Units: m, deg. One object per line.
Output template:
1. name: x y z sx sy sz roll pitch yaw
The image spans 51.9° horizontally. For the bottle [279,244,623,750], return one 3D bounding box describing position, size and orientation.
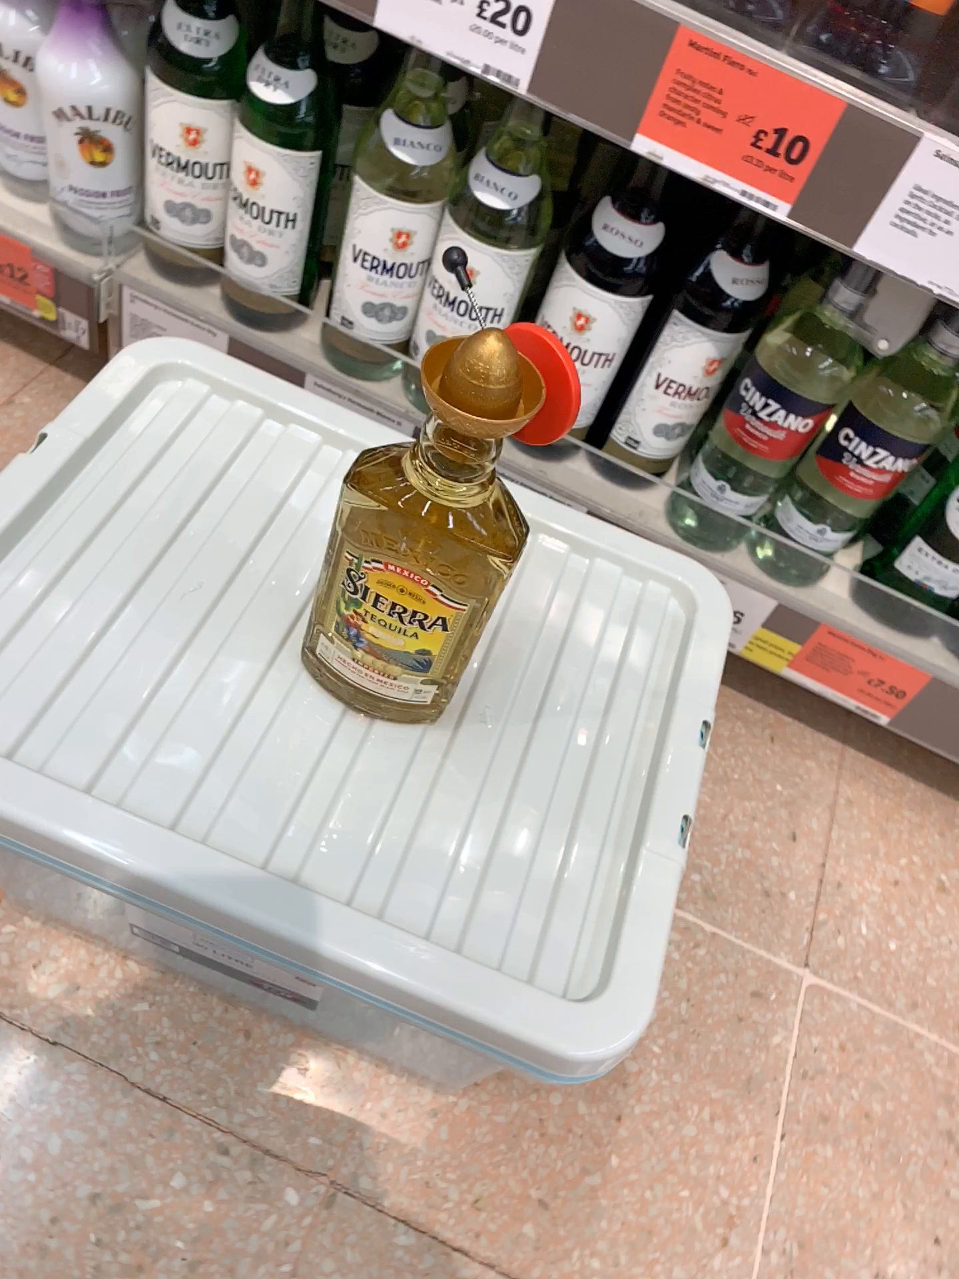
1. bottle: -0.029 -0.050 0.491 0.100 0.258 0.058 24 52 0
